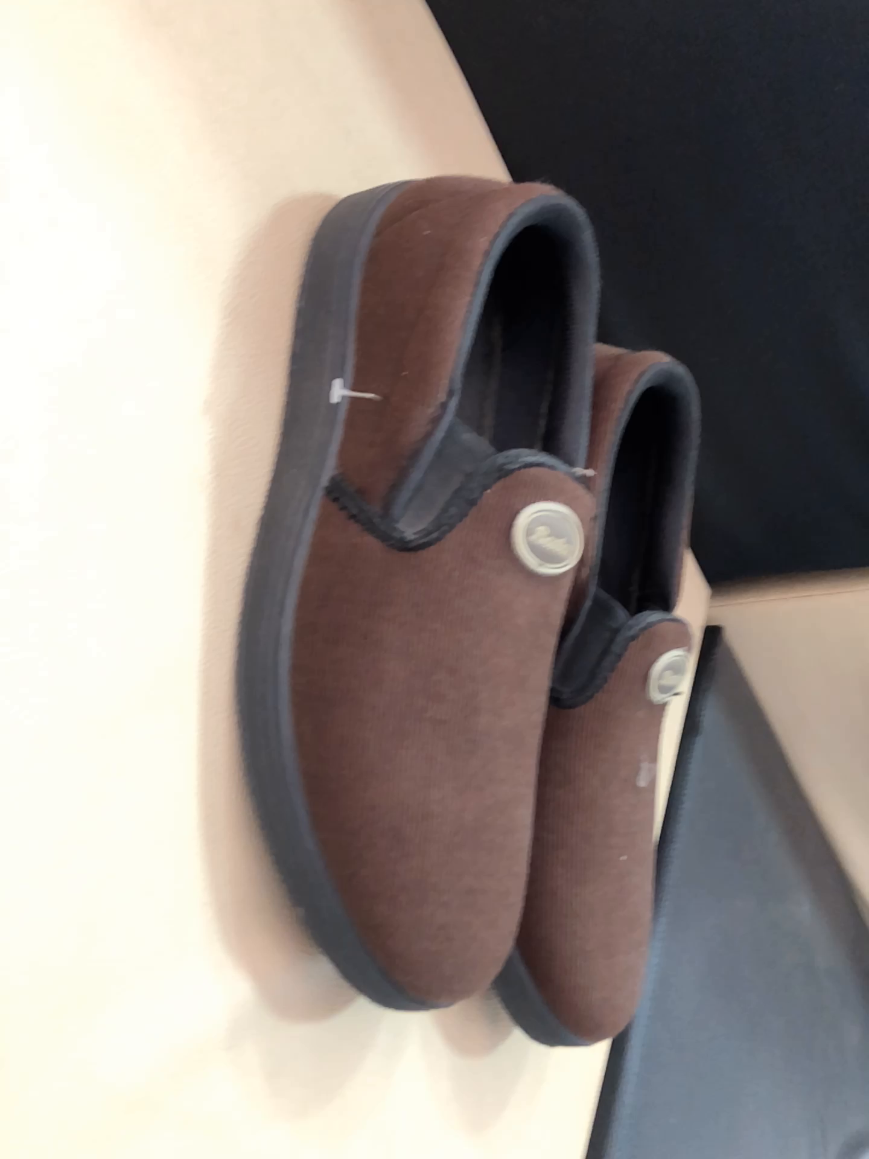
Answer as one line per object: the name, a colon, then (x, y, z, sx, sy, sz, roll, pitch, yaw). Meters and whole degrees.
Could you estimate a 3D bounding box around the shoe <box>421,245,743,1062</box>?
shoe: (0.057, 0.024, 0.372, 0.091, 0.079, 0.270, 20, 67, -52)

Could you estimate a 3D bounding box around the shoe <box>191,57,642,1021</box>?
shoe: (0.000, -0.010, 0.300, 0.091, 0.089, 0.250, 20, 67, -52)
